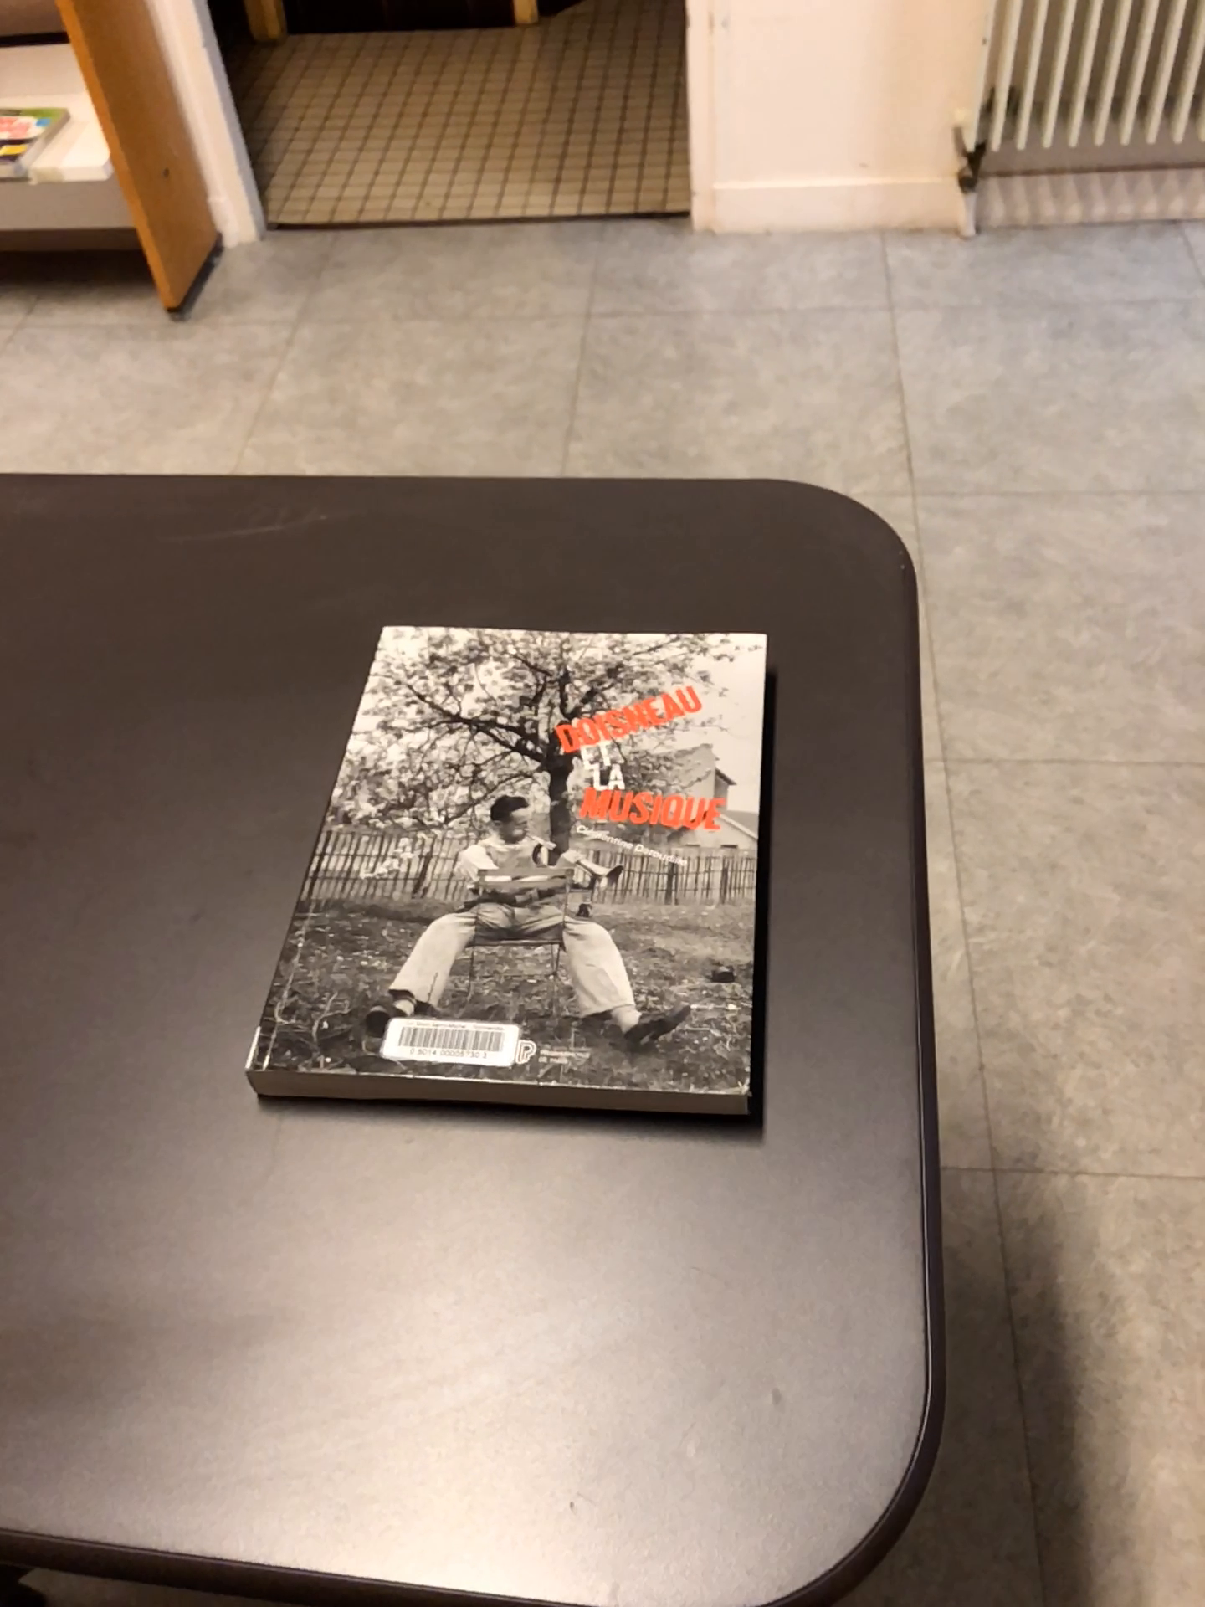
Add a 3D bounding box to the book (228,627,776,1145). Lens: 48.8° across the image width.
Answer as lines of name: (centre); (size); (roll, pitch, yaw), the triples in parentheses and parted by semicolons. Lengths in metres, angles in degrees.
book: (-0.026, 0.018, 0.565); (0.194, 0.030, 0.251); (2, 47, 7)
